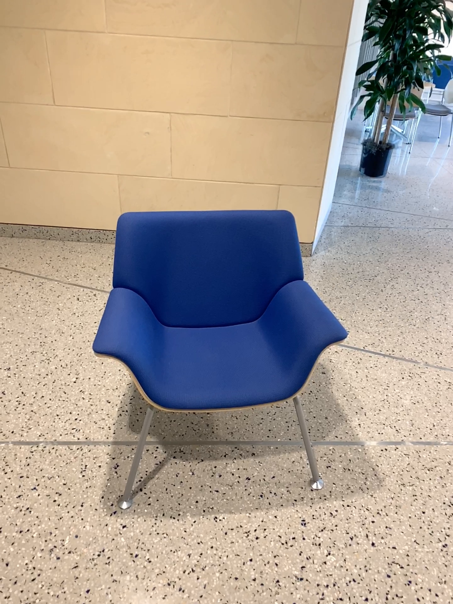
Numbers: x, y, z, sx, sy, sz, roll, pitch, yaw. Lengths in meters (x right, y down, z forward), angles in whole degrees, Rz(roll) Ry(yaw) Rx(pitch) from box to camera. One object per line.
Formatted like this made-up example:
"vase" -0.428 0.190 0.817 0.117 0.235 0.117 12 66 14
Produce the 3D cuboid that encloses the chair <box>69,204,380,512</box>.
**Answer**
"chair" -0.058 0.140 1.654 0.778 0.728 0.764 -2 32 -9
